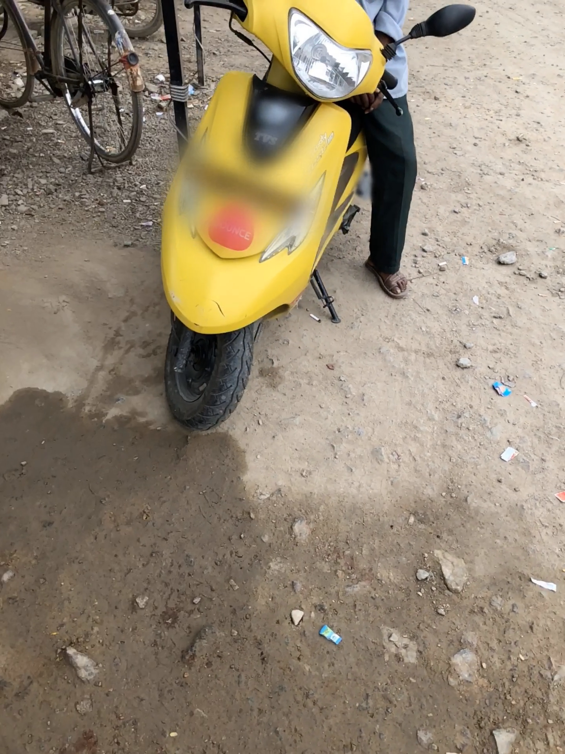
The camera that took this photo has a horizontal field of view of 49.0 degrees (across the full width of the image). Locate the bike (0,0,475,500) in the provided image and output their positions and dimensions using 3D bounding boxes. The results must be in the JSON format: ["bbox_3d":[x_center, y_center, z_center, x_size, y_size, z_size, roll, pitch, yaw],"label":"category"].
[{"bbox_3d":[0.034,-0.698,2.153,0.888,1.160,1.665,12,44,9],"label":"bike"}]
